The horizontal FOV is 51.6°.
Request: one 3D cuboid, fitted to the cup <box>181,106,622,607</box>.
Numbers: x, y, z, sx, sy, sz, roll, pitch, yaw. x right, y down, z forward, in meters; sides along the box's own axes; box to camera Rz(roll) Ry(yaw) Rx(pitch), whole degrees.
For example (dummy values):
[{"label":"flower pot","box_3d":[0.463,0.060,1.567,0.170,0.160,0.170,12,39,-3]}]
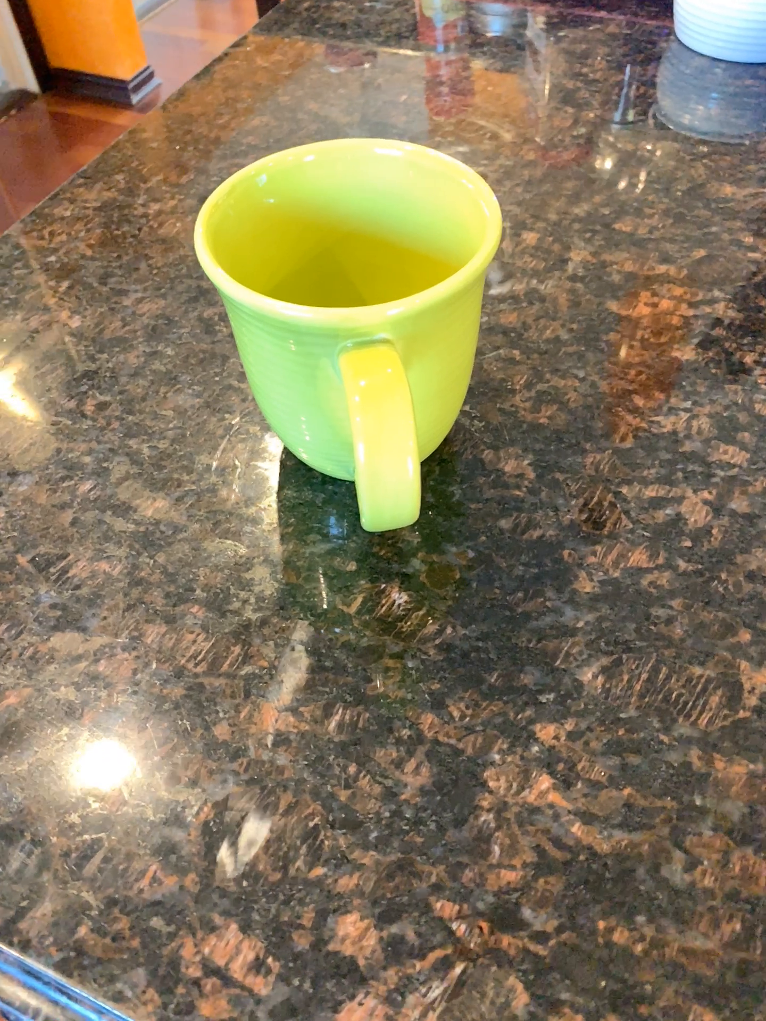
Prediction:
[{"label":"cup","box_3d":[-0.004,-0.060,0.280,0.110,0.080,0.151,-10,53,-5]}]
